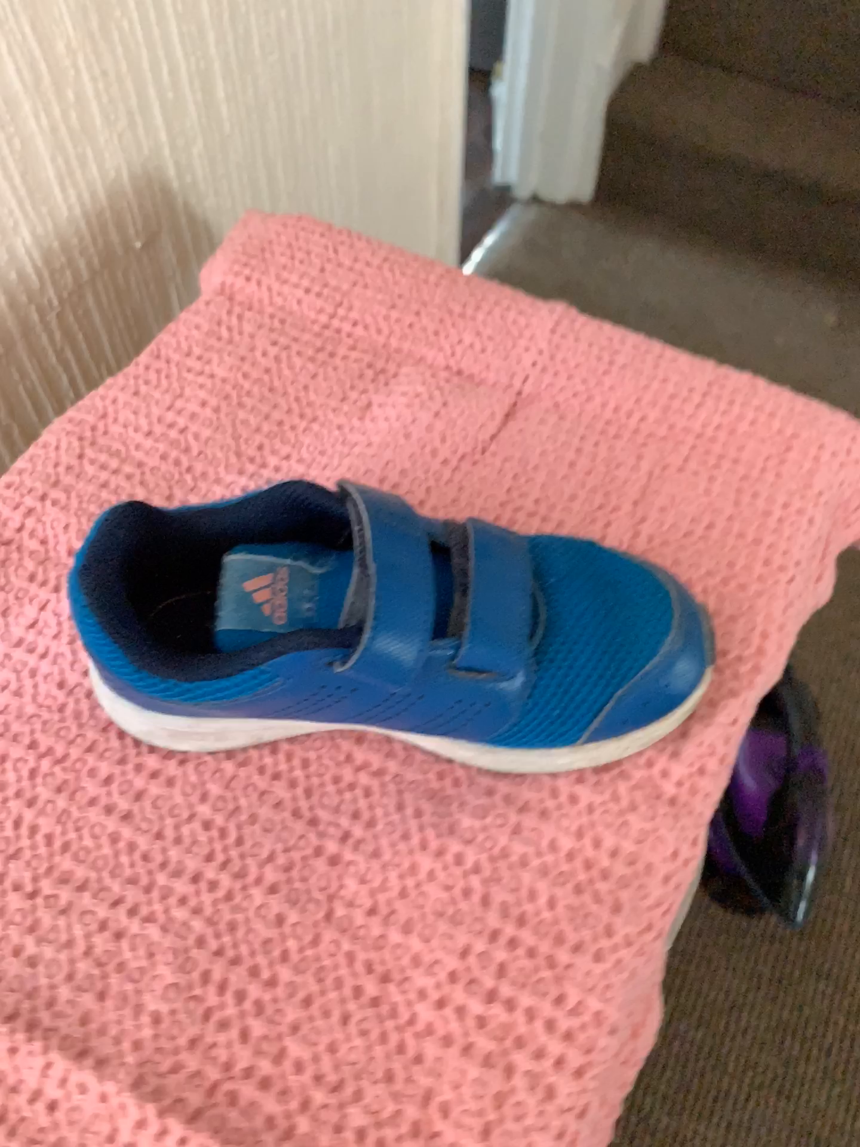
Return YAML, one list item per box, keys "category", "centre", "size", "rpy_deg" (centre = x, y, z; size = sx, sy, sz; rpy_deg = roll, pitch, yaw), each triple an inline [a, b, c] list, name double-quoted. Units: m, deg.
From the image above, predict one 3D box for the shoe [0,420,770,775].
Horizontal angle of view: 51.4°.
- category: "shoe"
  centre: [-0.013, 0.009, 0.292]
  size: [0.207, 0.075, 0.085]
  rpy_deg: [1, 56, 0]
